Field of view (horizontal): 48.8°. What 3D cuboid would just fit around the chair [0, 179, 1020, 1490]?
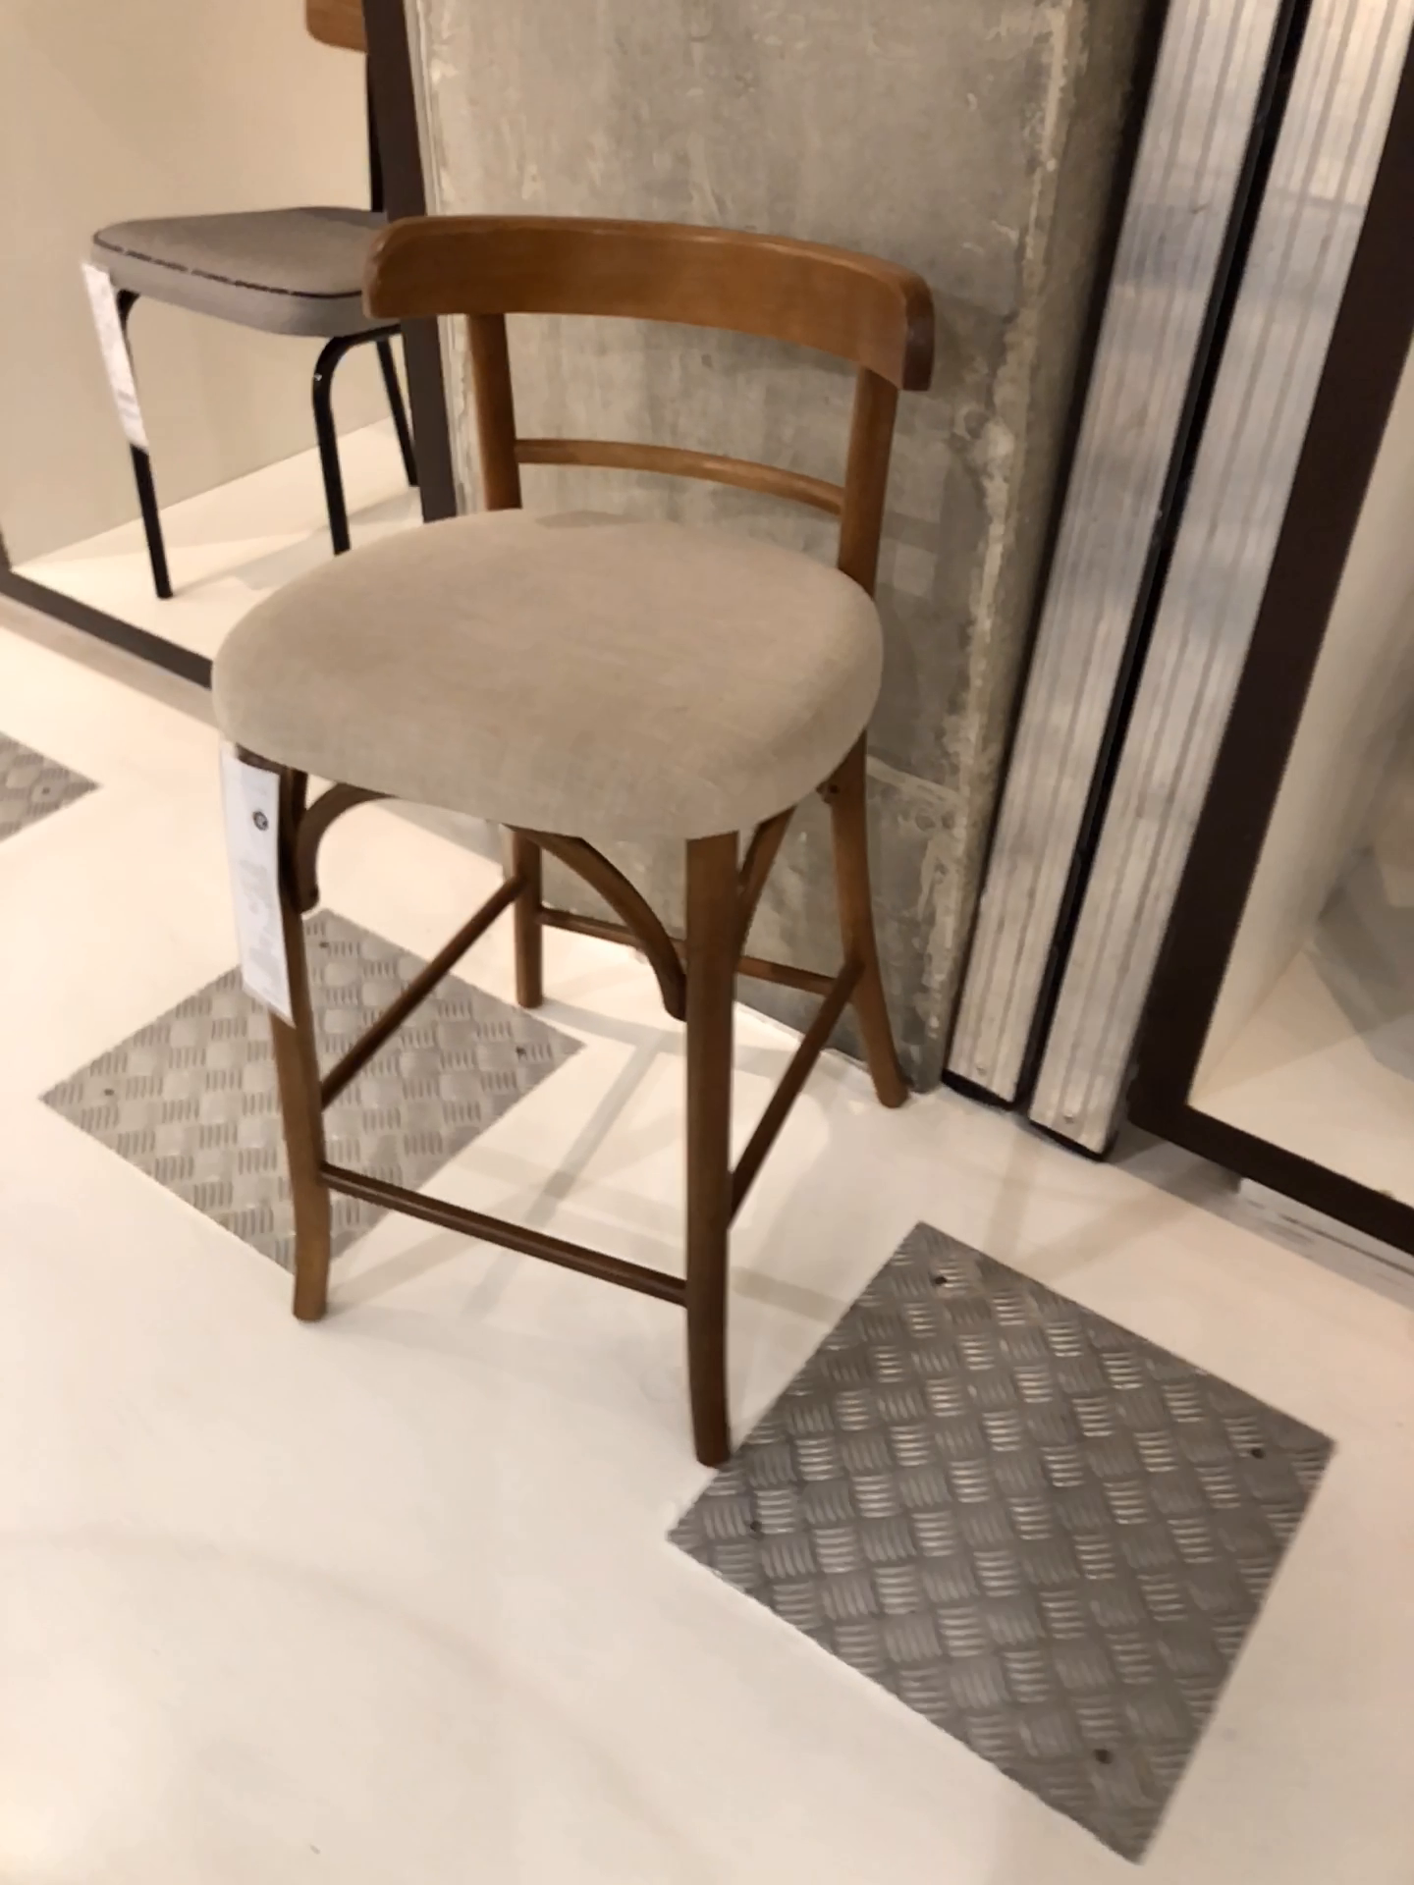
[{"bbox_3d":[-0.105,-0.082,1.234,0.490,0.814,0.483,15,41,17],"label":"chair"}]
